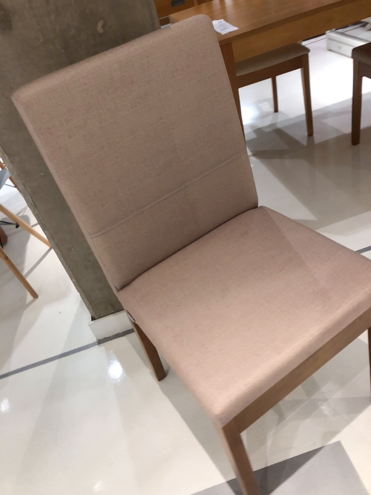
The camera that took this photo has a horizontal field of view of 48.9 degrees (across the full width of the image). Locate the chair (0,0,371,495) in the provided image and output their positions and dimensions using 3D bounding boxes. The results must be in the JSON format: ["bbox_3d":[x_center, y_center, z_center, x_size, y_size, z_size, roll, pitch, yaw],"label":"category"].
[{"bbox_3d":[0.080,0.067,0.898,0.561,0.933,0.543,-31,39,-17],"label":"chair"}]
